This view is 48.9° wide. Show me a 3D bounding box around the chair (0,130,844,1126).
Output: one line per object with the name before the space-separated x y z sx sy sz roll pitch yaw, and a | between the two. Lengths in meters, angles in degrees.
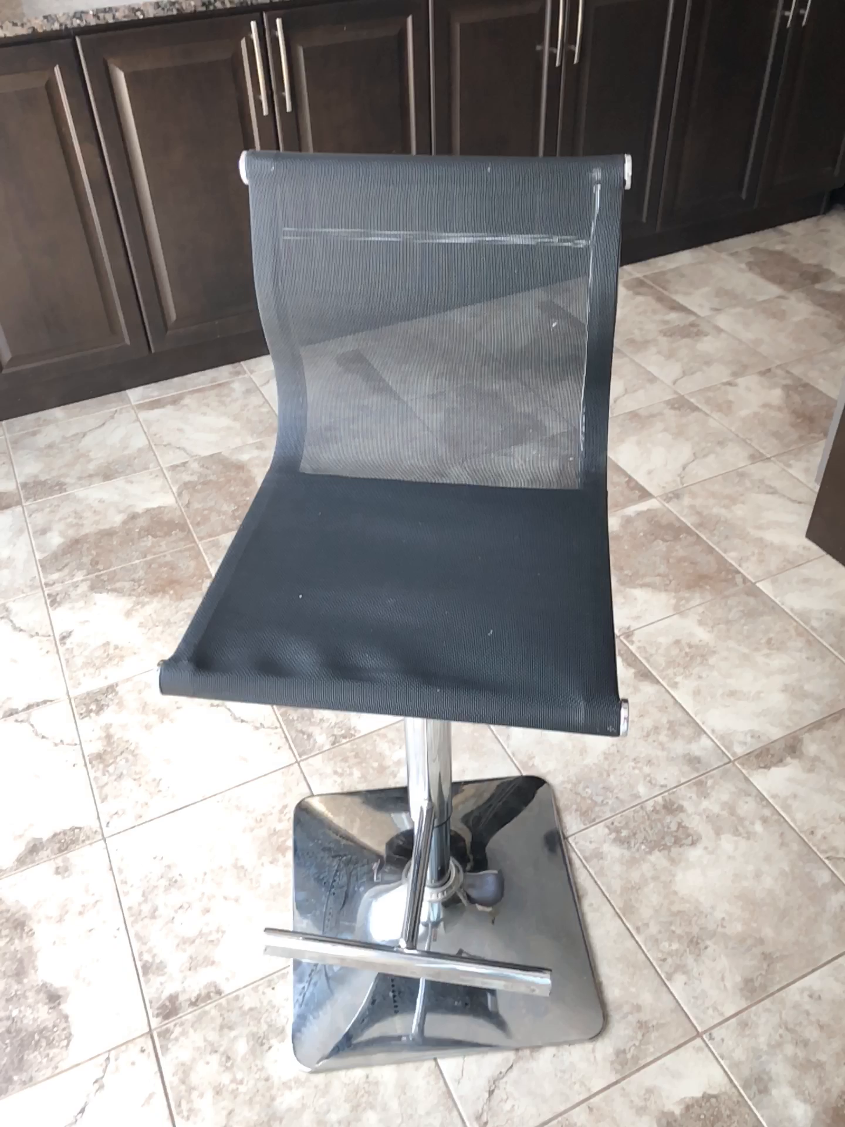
chair | 0.025 0.116 1.044 0.540 0.976 0.552 5 40 8
